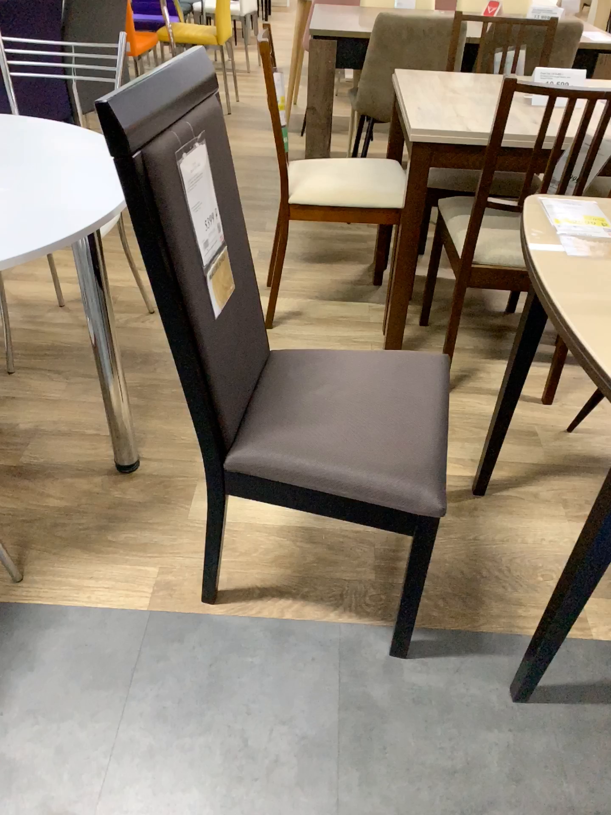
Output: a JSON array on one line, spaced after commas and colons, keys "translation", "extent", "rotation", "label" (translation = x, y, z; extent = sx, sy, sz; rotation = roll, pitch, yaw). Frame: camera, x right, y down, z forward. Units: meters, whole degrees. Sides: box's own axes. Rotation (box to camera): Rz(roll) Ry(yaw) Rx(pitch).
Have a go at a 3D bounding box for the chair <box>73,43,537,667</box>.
[{"translation": [0.015, -0.041, 1.141], "extent": [0.500, 0.994, 0.443], "rotation": [9, 40, 8], "label": "chair"}]
